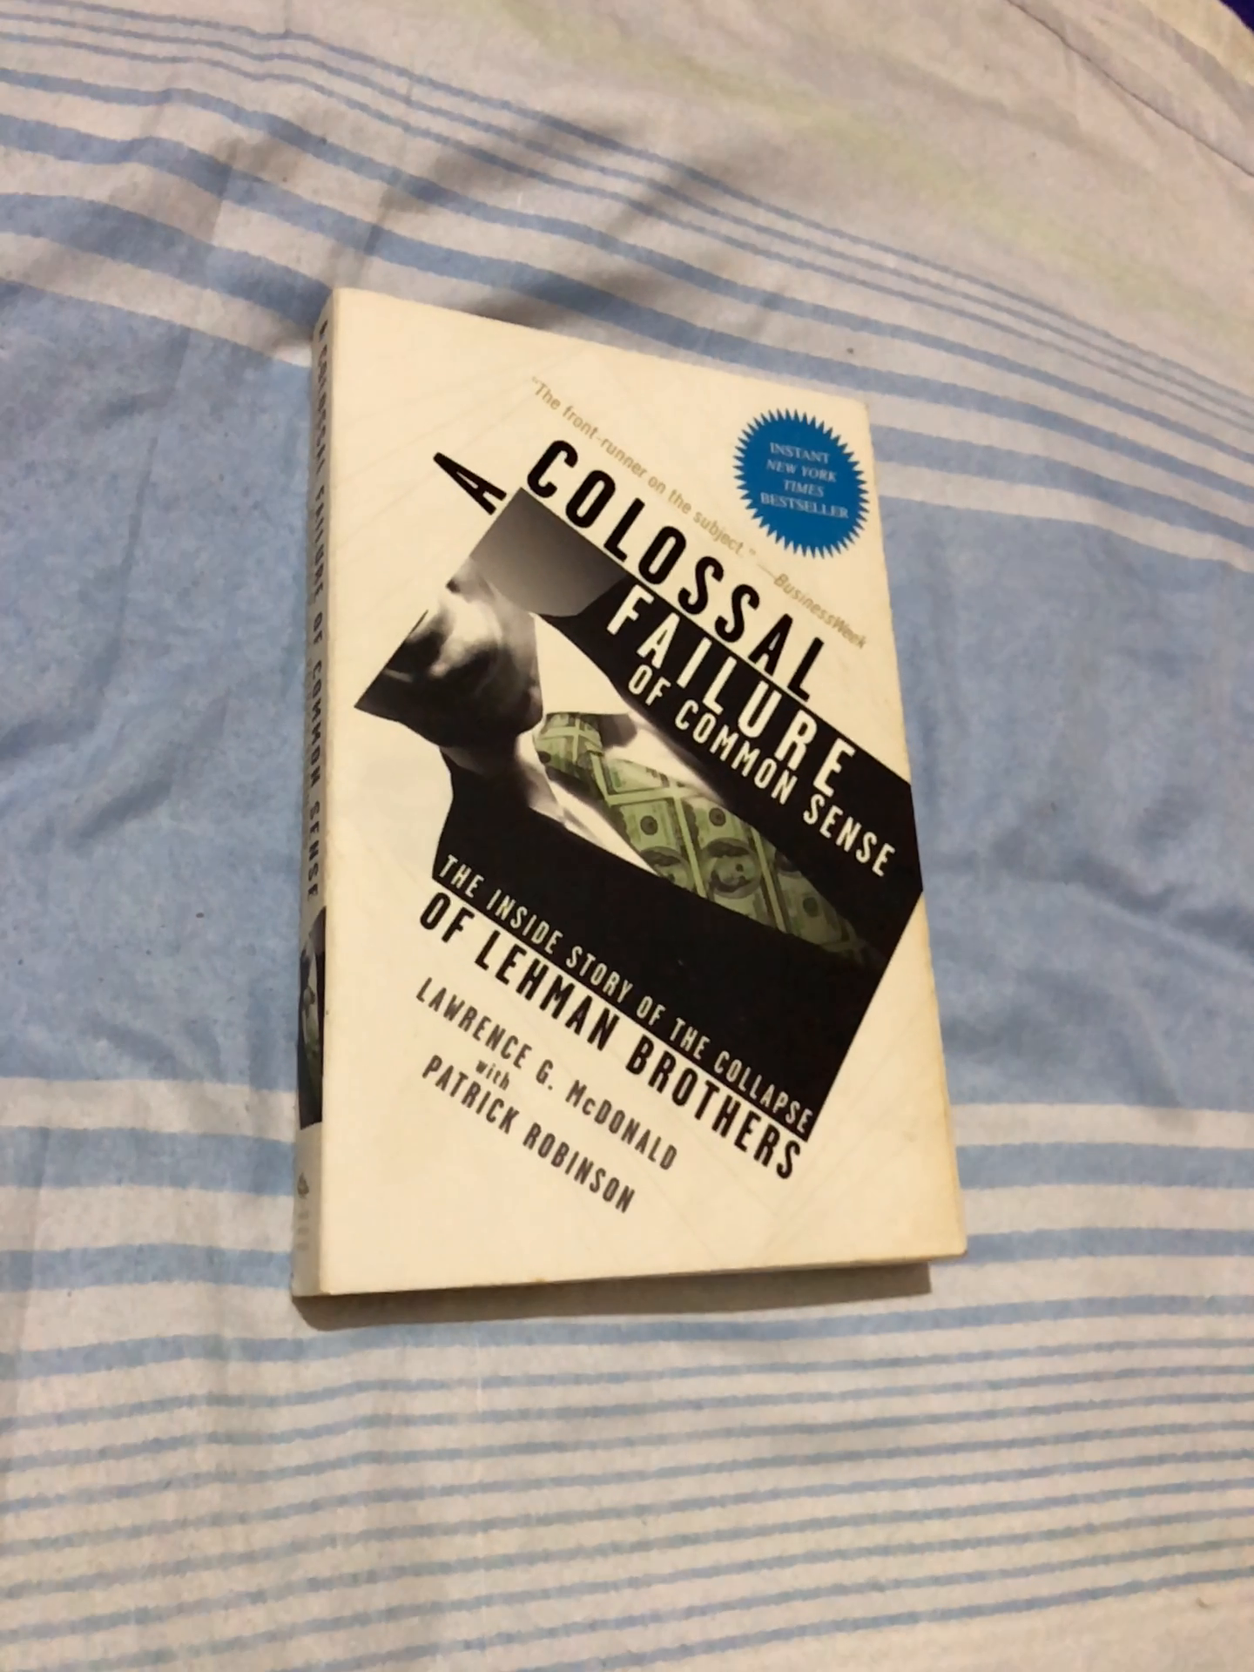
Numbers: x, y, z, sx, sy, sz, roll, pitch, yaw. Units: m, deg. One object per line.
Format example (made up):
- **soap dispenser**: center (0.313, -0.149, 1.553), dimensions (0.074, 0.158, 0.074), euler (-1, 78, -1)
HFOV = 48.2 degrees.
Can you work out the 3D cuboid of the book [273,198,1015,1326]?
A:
- **book**: center (0.000, -0.016, 0.303), dimensions (0.140, 0.040, 0.220), euler (4, 71, -25)
